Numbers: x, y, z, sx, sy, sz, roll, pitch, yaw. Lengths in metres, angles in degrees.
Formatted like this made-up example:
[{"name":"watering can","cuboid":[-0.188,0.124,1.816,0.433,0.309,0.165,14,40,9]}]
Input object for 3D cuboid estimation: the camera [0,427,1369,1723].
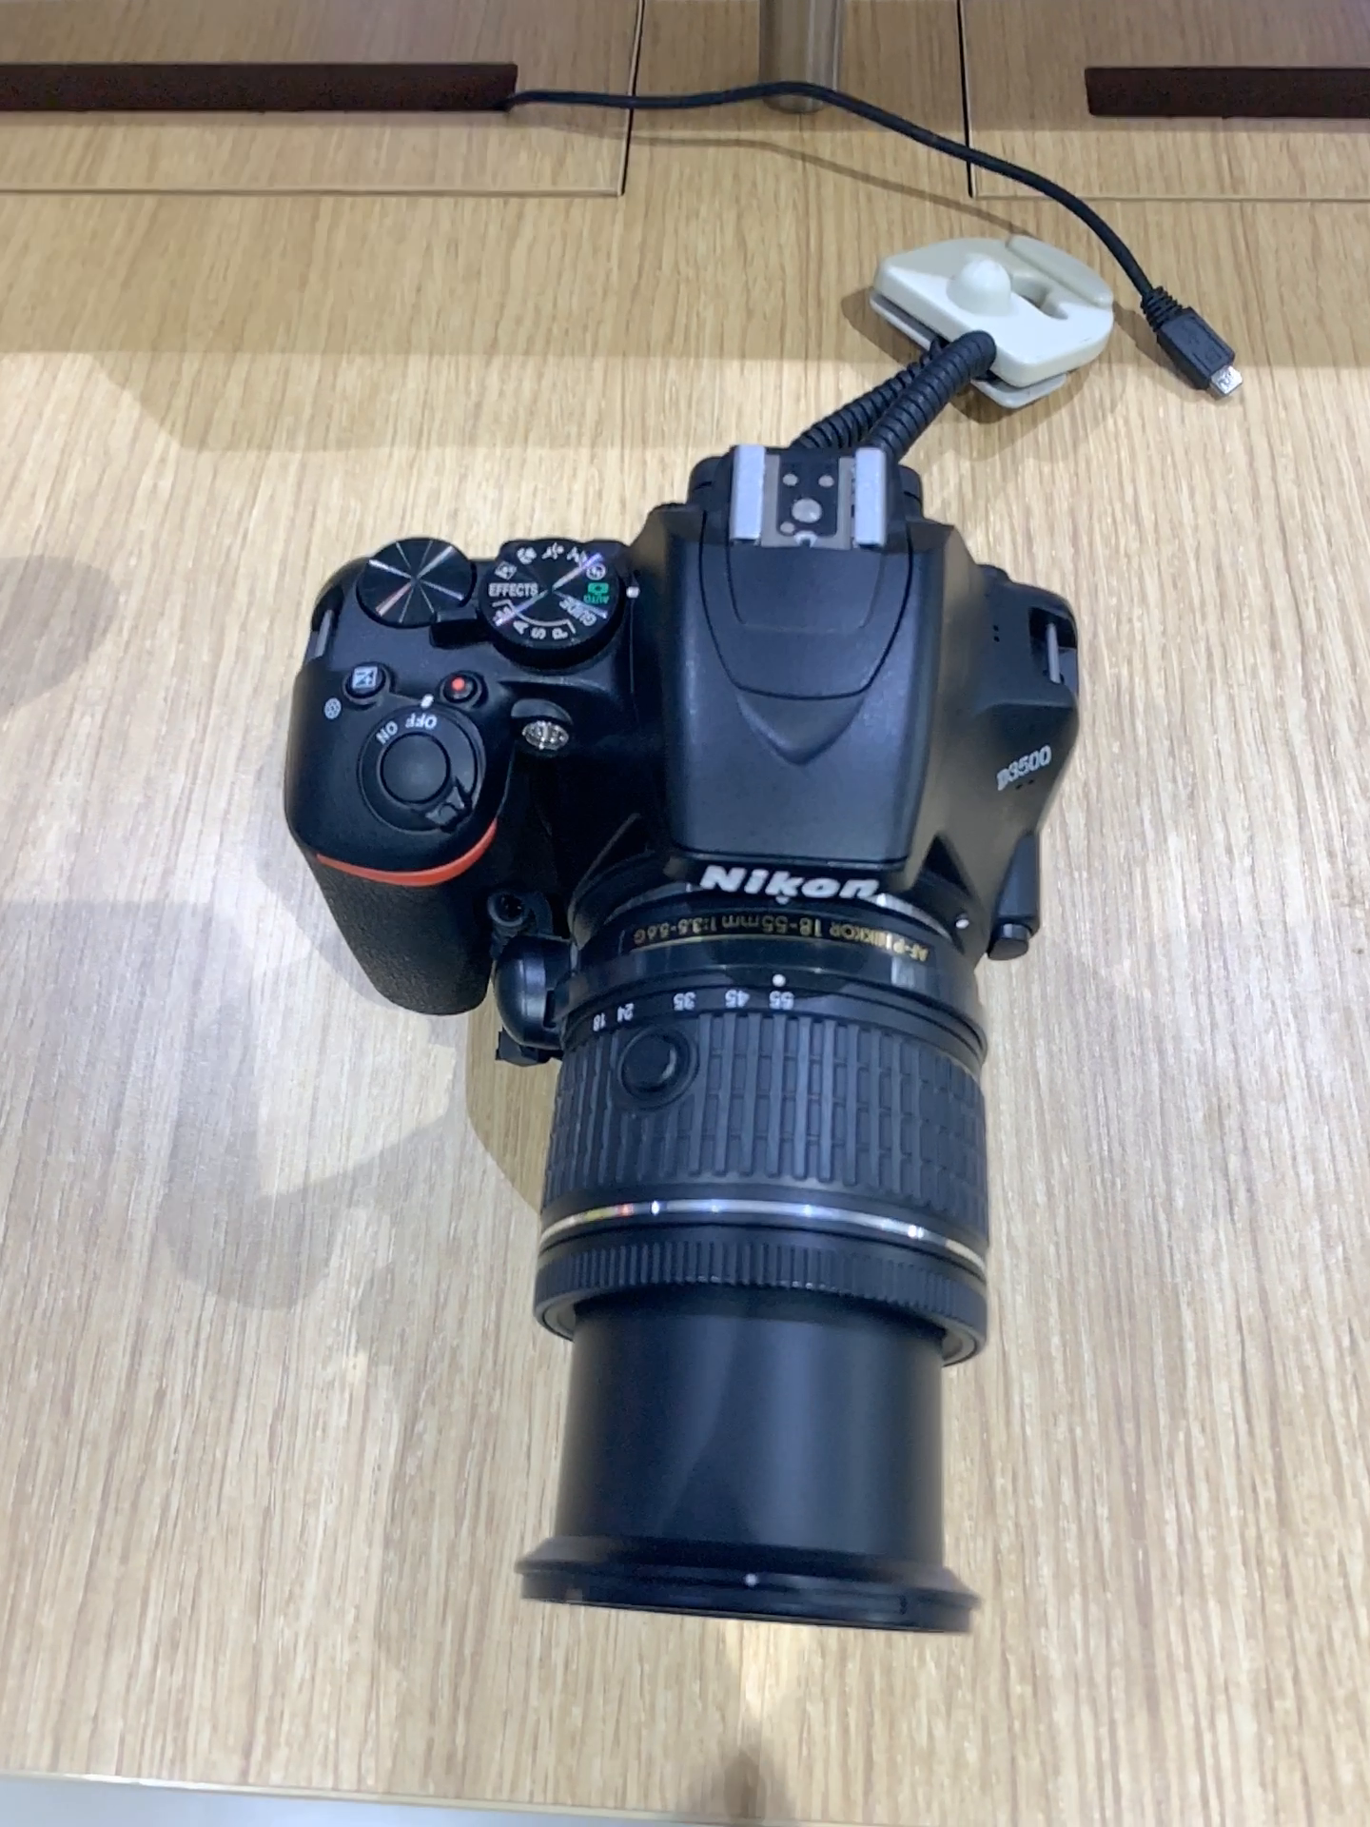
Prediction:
[{"name":"camera","cuboid":[0.003,0.022,0.184,0.117,0.095,0.131,3,63,4]}]
